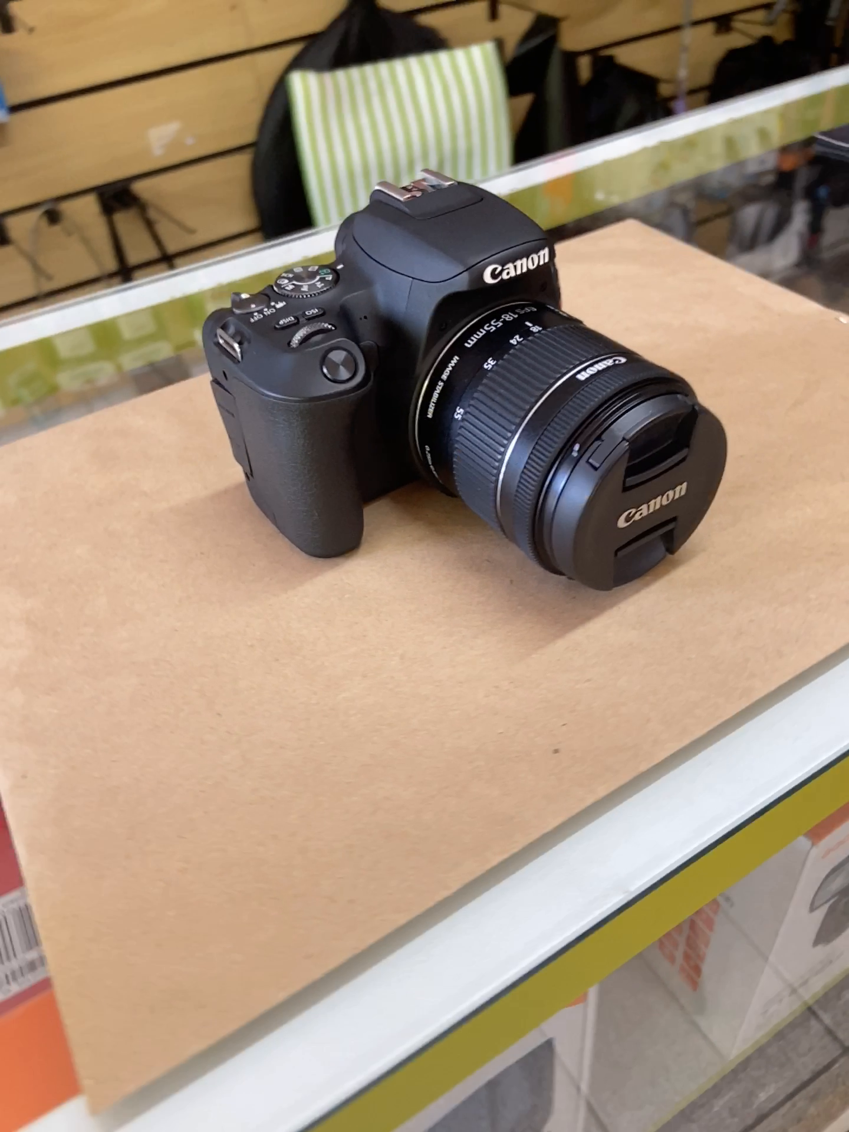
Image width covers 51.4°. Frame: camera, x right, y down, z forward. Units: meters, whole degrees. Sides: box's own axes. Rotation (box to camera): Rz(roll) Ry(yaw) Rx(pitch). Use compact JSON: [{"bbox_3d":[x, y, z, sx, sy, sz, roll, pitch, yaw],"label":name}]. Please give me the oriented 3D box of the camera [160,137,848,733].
[{"bbox_3d":[0.023,-0.054,0.270,0.140,0.089,0.130,-30,46,-23],"label":"camera"}]
